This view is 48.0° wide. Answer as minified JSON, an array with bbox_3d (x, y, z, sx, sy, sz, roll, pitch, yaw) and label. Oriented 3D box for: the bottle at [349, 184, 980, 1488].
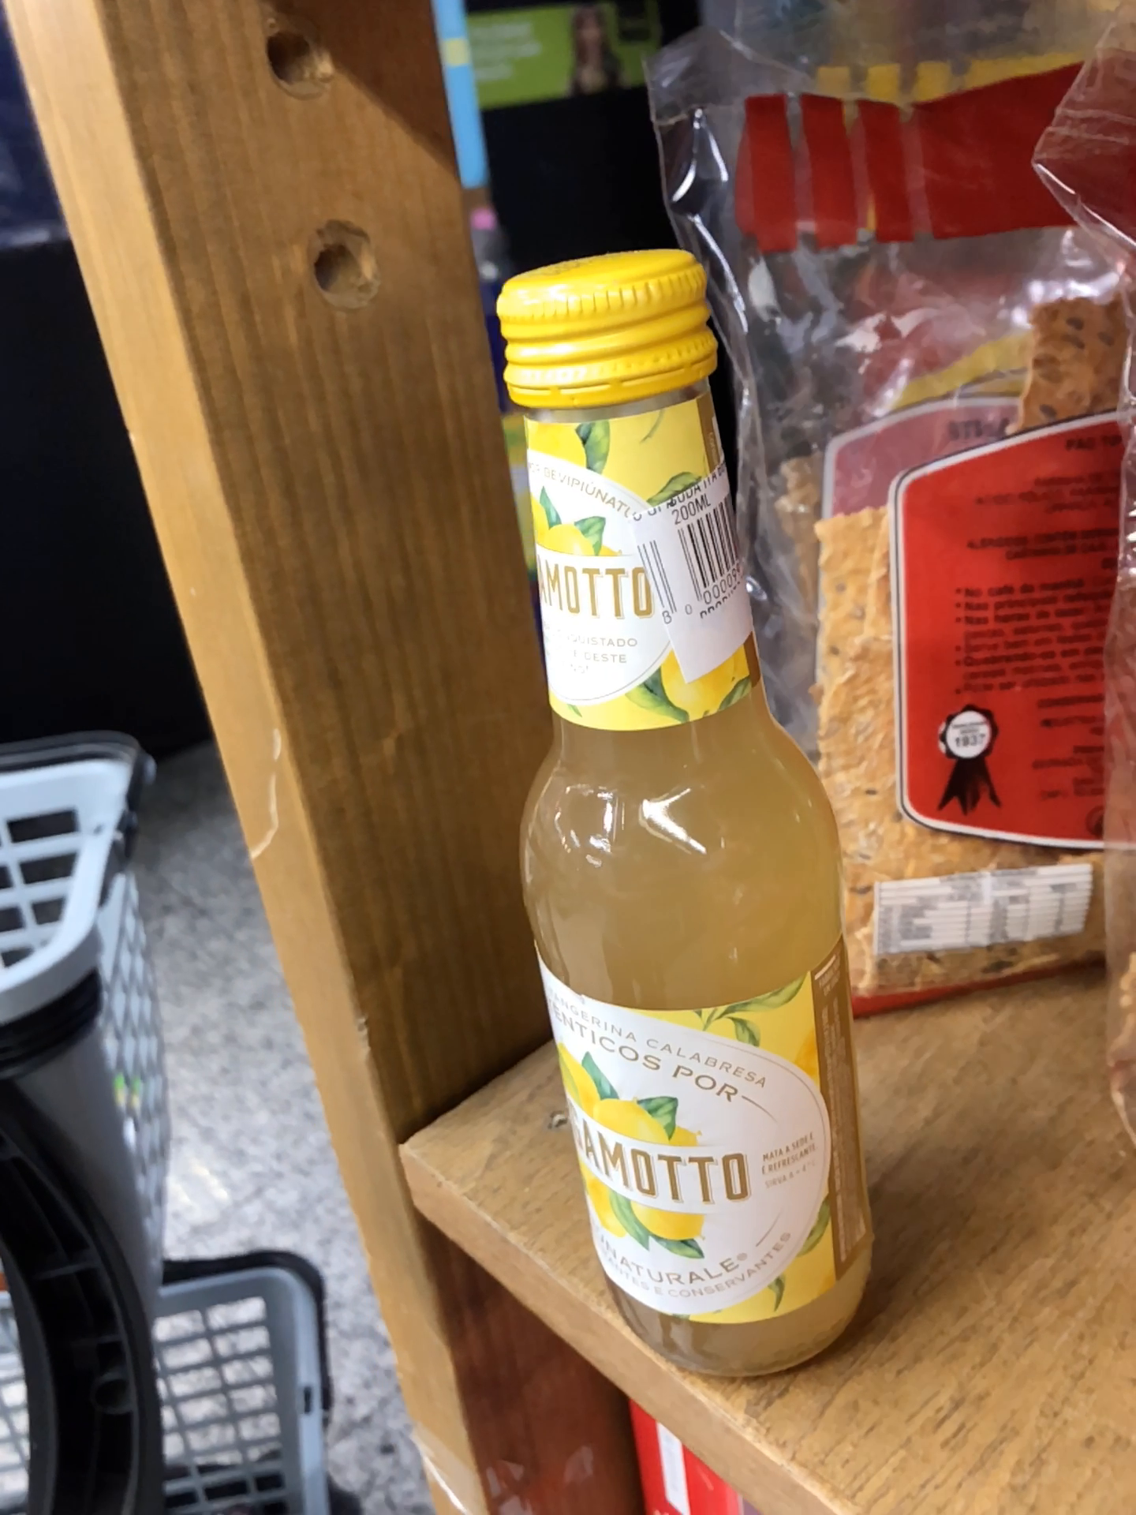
[{"bbox_3d":[0.025,0.018,0.214,0.060,0.198,0.060,-7,26,3],"label":"bottle"}]
